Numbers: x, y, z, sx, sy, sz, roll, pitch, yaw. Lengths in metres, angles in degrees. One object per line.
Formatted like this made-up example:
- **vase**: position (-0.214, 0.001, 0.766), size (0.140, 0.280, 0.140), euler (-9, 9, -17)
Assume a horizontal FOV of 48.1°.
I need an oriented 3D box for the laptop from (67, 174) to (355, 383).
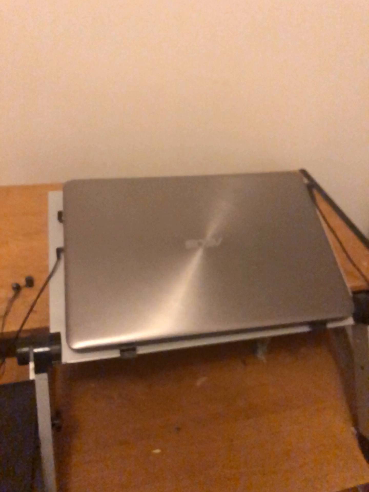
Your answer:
- **laptop**: position (0.022, 0.028, 0.599), size (0.362, 0.071, 0.250), euler (-4, 56, -11)
